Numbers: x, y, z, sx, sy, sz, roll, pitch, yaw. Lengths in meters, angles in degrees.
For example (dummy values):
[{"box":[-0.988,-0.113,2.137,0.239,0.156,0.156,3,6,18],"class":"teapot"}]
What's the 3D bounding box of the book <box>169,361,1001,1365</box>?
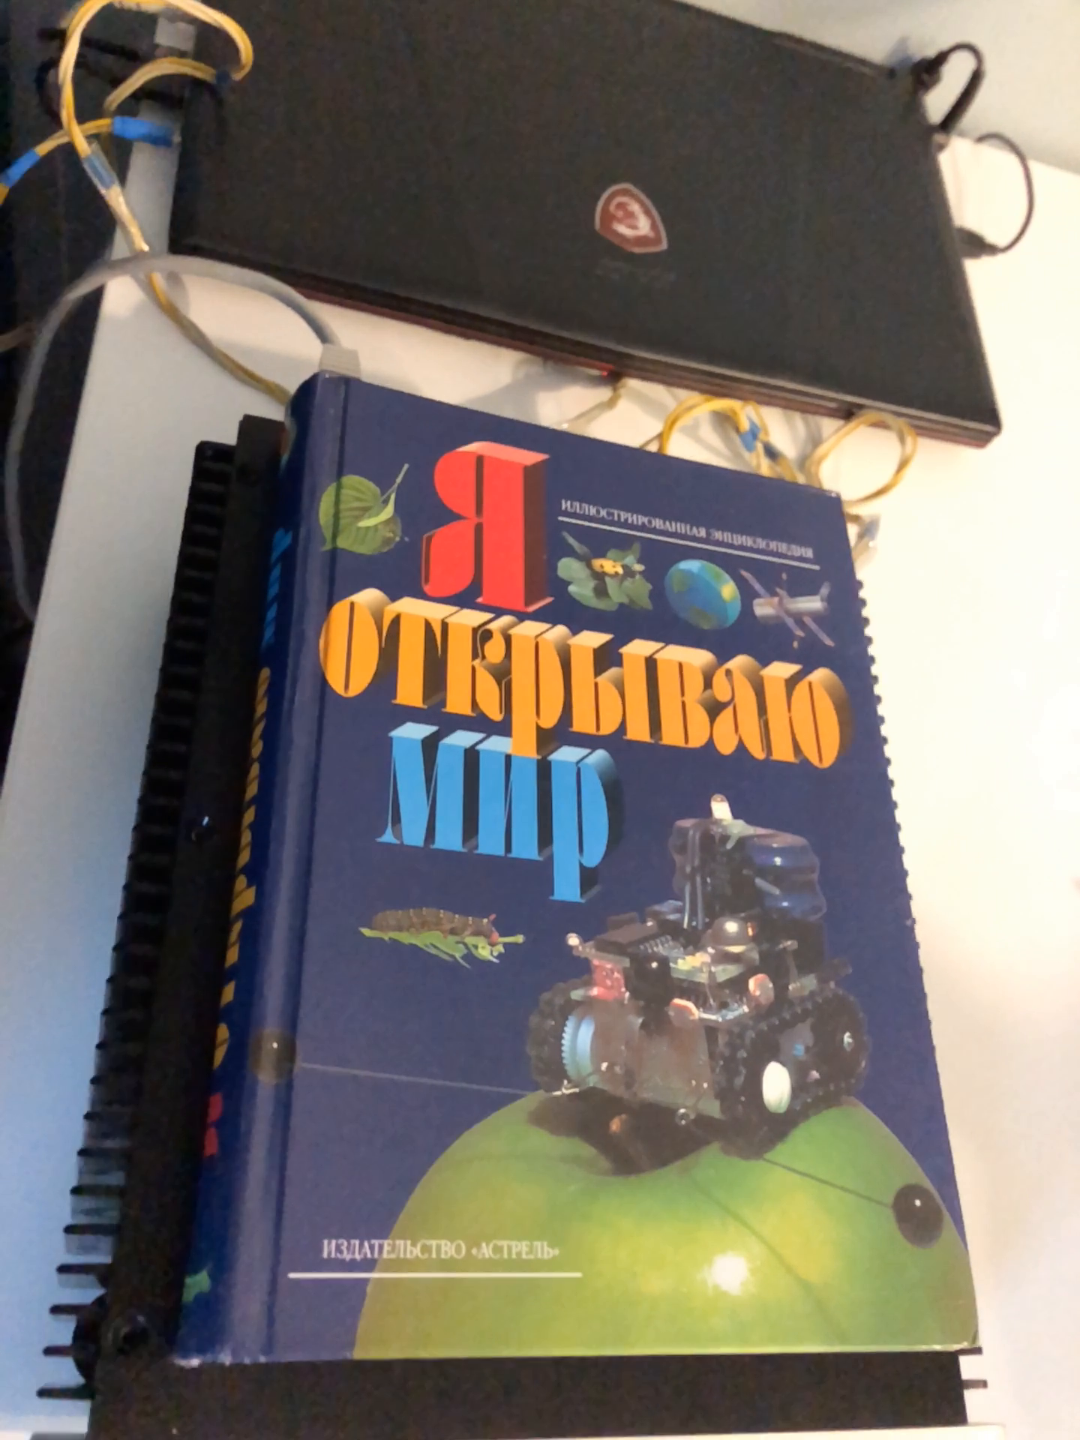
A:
[{"box":[0.015,0.029,0.326,0.186,0.030,0.256,9,60,-17],"class":"book"}]
